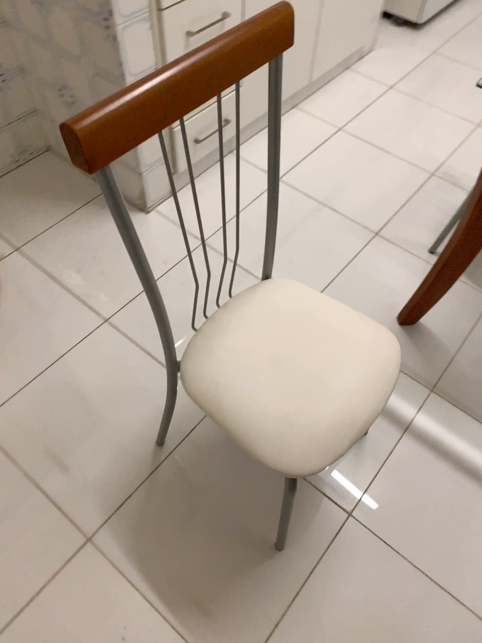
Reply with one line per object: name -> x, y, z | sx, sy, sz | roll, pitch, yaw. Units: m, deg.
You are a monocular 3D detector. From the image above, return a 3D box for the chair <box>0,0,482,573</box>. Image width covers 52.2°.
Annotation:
chair -> 0.062, 0.022, 0.932 | 0.511, 0.886, 0.481 | 35, 61, 20
